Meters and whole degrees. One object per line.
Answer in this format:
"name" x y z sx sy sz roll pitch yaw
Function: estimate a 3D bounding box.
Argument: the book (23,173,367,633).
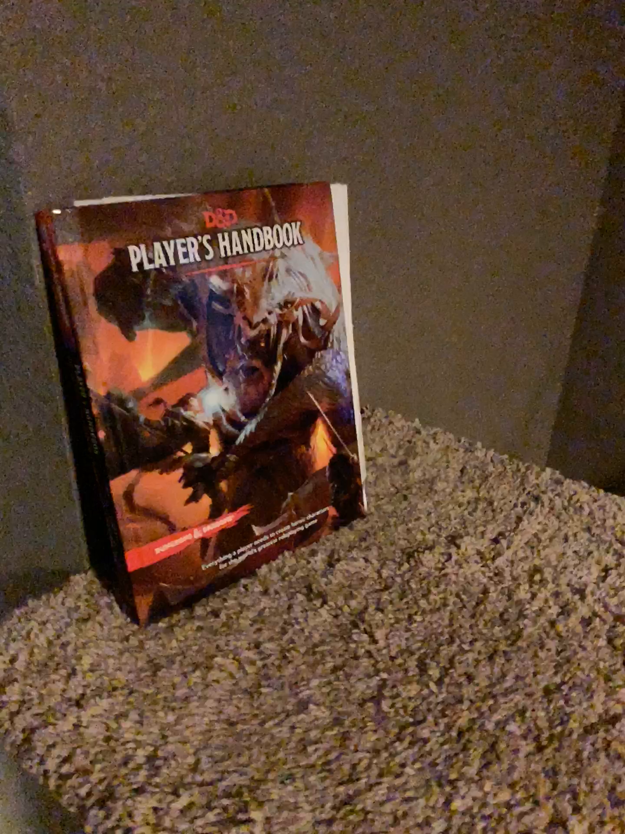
"book" -0.063 -0.021 0.522 0.230 0.290 0.040 -20 25 -37
